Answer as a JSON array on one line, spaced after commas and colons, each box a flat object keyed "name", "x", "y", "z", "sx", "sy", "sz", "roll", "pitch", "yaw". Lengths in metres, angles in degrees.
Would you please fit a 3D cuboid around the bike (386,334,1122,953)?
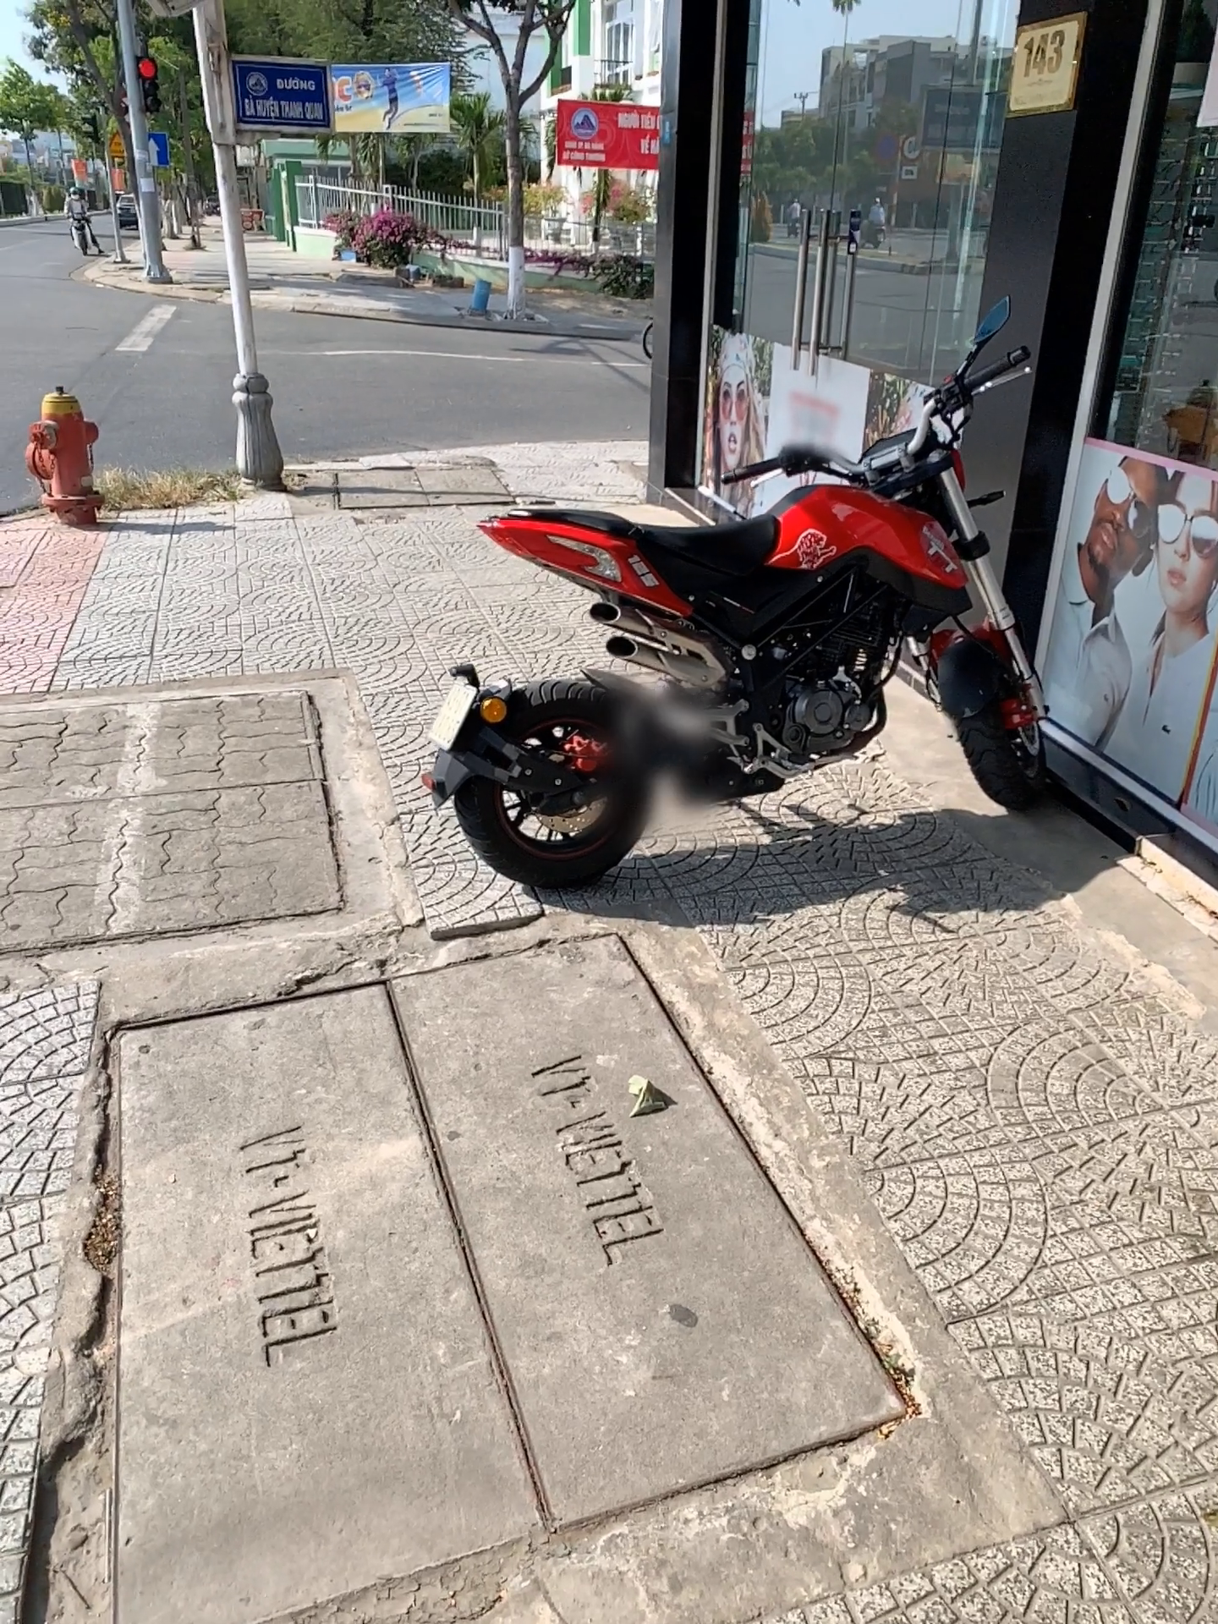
[{"name": "bike", "x": 0.450, "y": -0.653, "z": 3.523, "sx": 2.124, "sy": 1.216, "sz": 0.834, "roll": -15, "pitch": 30, "yaw": -32}]
